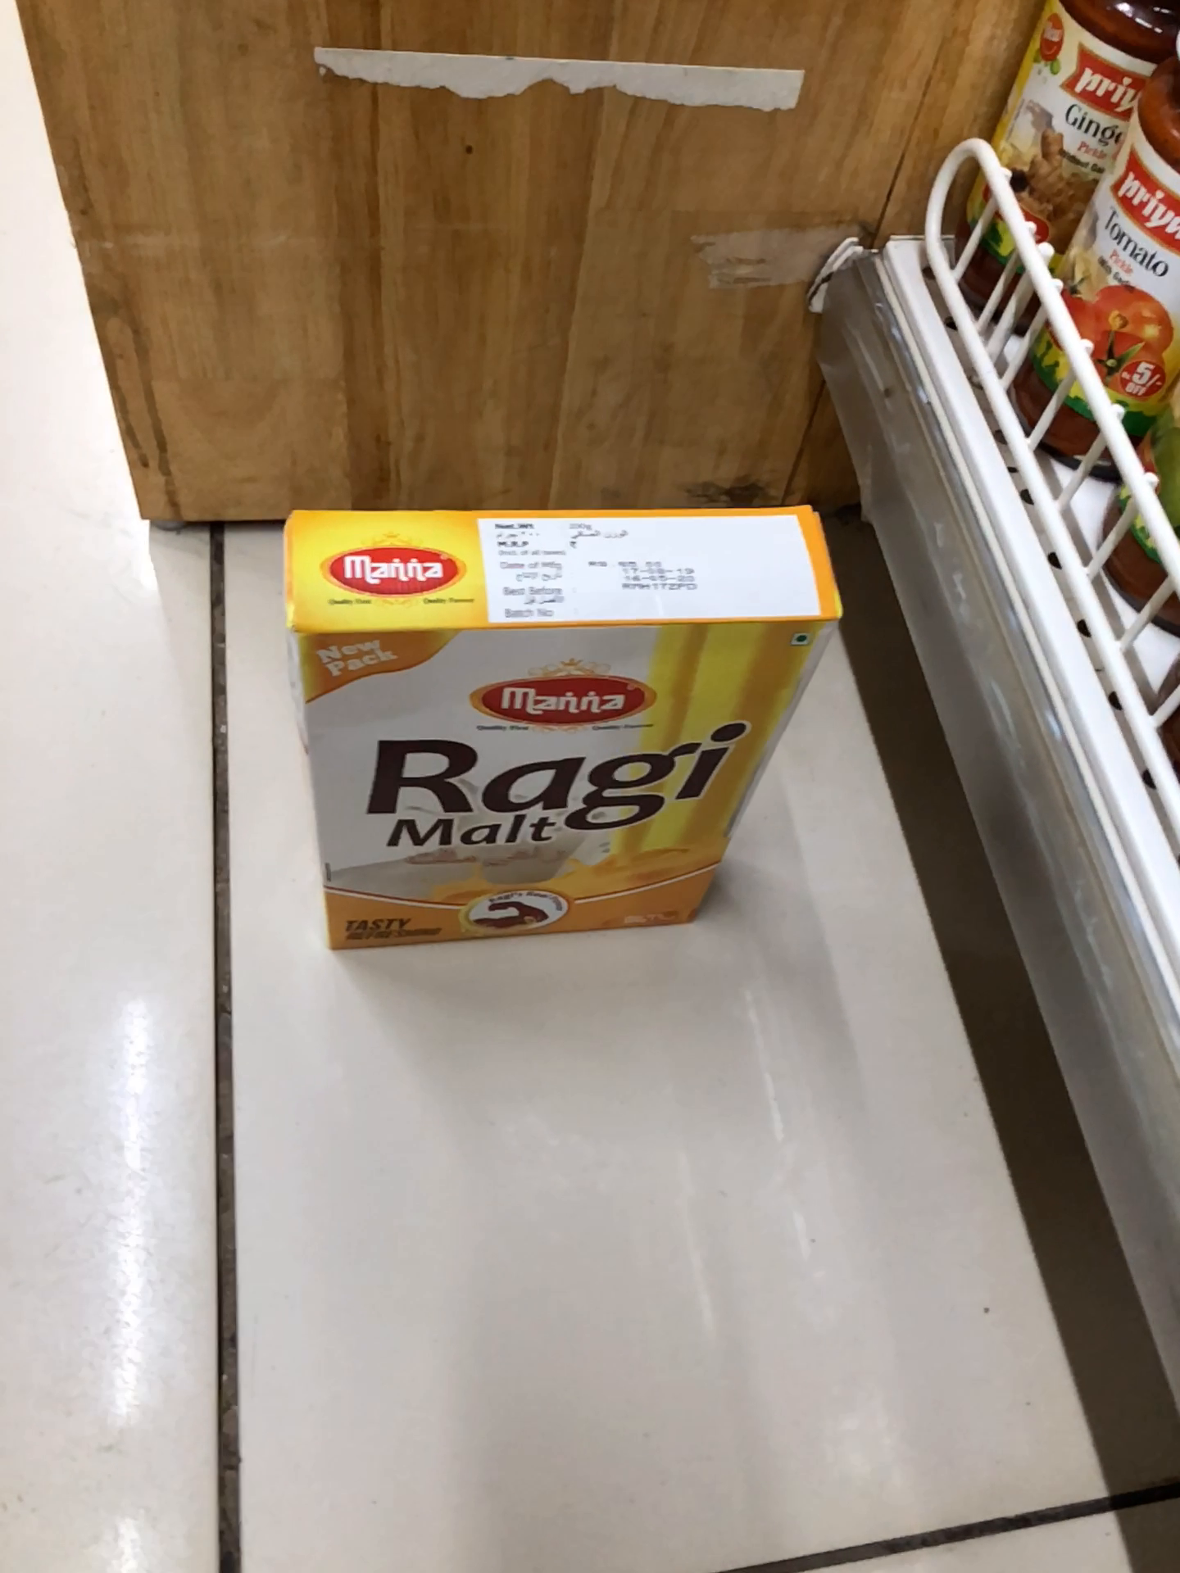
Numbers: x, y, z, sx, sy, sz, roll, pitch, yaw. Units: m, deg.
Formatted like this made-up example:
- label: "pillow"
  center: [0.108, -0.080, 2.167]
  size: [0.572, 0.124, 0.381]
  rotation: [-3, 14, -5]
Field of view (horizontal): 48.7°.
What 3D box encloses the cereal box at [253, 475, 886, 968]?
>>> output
- label: "cereal box"
  center: [-0.013, -0.008, 0.372]
  size: [0.140, 0.179, 0.040]
  rotation: [-3, 58, -9]
